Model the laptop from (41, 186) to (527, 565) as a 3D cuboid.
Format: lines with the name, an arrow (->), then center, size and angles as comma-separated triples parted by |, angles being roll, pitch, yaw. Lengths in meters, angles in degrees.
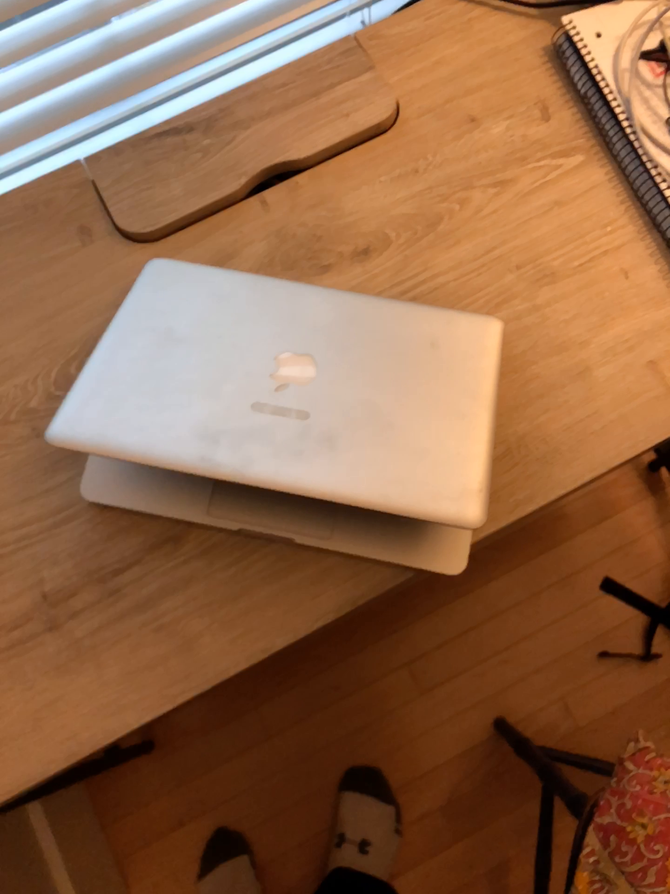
laptop -> -0.030, -0.058, 0.588 | 0.318, 0.090, 0.229 | 11, 74, 6
